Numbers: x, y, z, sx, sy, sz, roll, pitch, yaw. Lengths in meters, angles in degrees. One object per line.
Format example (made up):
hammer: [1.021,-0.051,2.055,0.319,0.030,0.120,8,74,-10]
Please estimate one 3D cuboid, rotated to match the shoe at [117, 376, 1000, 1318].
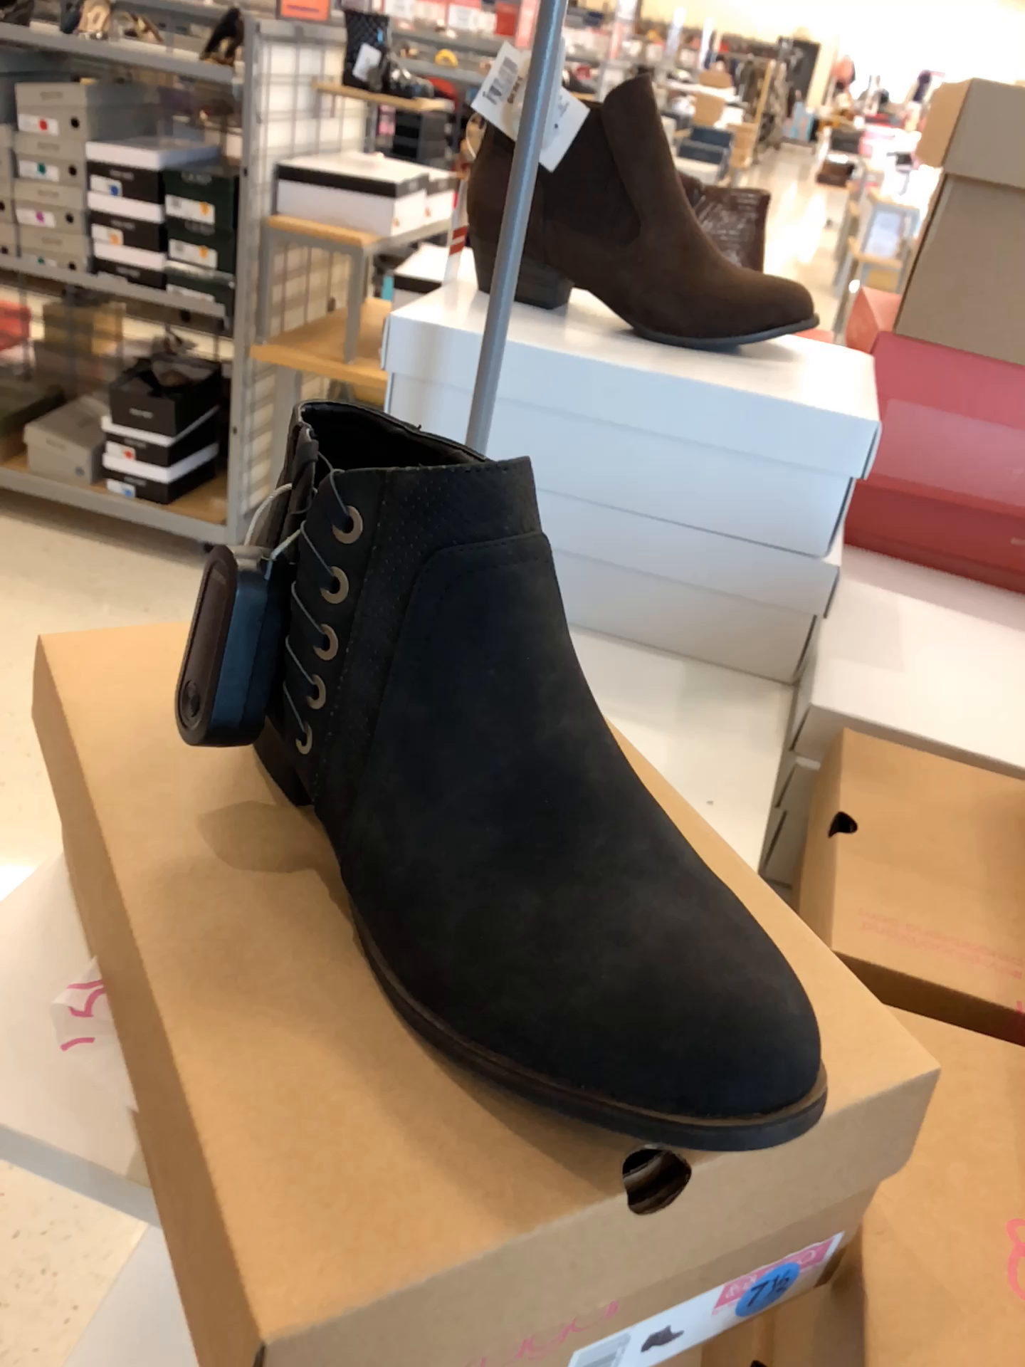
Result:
shoe: [-0.020,0.012,0.328,0.100,0.119,0.261,-12,37,-35]
